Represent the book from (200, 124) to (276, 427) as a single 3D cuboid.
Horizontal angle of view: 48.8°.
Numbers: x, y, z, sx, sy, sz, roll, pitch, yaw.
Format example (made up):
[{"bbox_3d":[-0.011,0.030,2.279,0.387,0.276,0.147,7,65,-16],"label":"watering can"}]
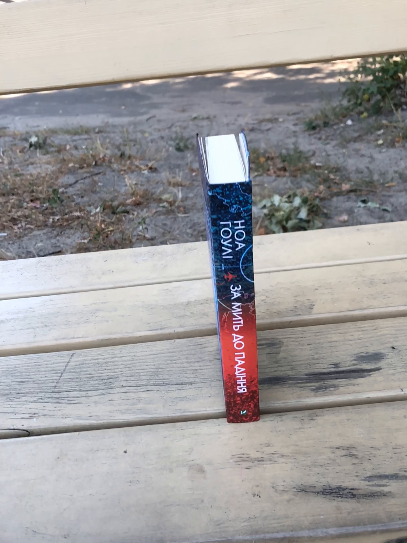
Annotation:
[{"bbox_3d":[0.025,0.000,0.365,0.040,0.199,0.141,-4,30,0],"label":"book"}]
